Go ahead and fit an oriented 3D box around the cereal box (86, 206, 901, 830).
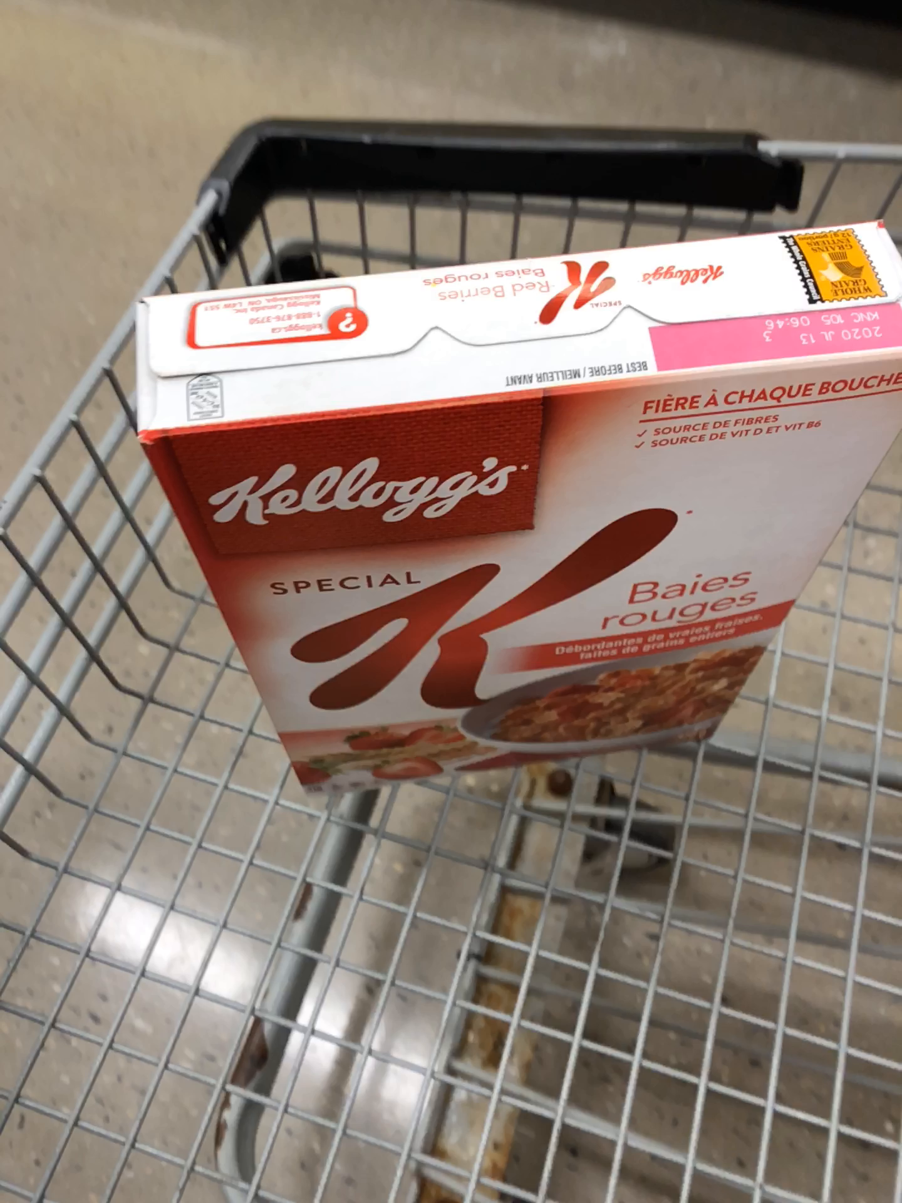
[{"bbox_3d":[0.021,0.000,0.361,0.210,0.270,0.050,-7,59,-3],"label":"cereal box"}]
